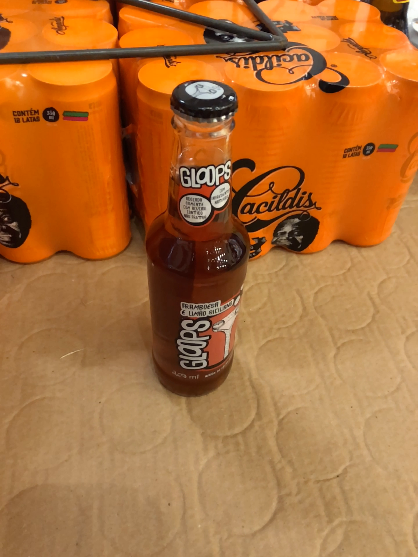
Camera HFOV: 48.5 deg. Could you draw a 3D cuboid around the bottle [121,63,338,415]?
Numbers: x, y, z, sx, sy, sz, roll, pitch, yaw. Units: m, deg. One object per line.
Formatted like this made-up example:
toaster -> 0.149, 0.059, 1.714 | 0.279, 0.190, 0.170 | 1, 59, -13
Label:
bottle -> 0.003, -0.006, 0.252 | 0.070, 0.189, 0.050 | -21, 52, -21
